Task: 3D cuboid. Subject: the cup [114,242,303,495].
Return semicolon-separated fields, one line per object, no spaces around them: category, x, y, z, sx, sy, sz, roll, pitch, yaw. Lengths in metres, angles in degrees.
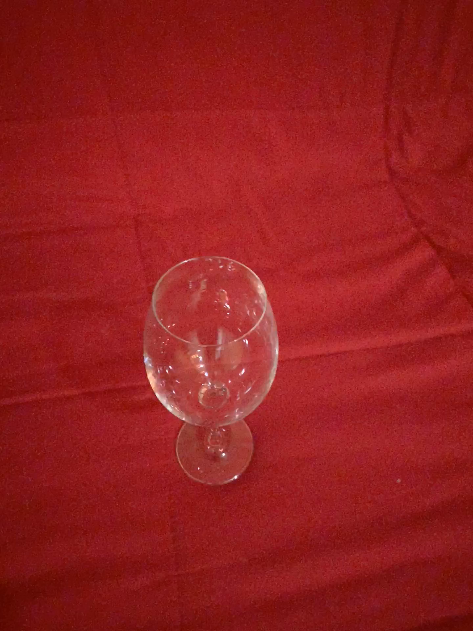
cup;-0.022;0.061;0.374;0.094;0.246;0.083;-7;59;-6
